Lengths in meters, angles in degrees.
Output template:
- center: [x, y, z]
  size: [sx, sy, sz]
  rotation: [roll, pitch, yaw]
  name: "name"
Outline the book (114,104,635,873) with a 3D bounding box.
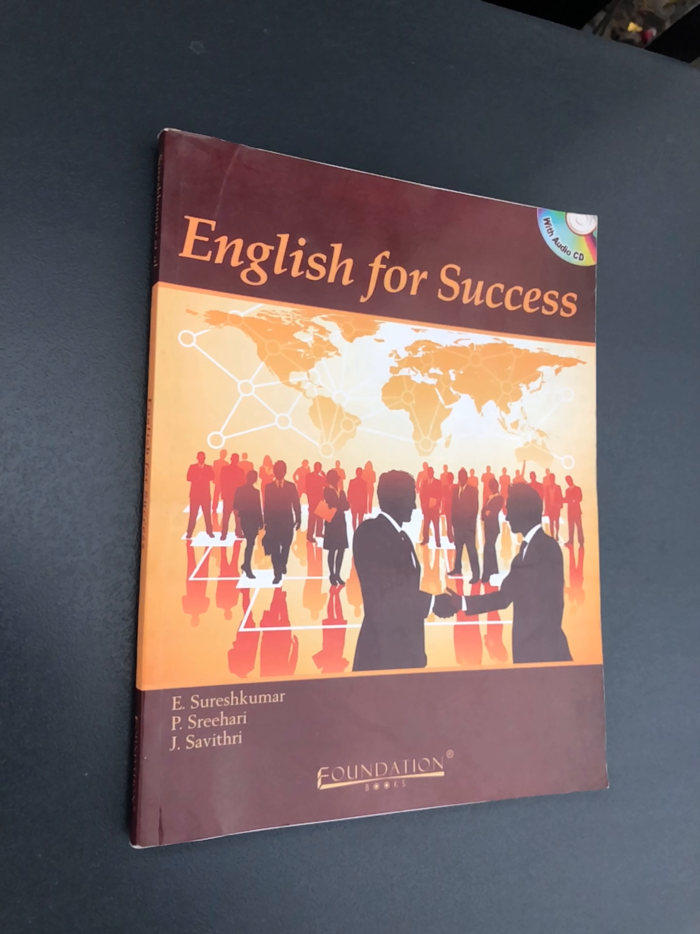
- center: [0.016, 0.005, 0.293]
  size: [0.190, 0.030, 0.240]
  rotation: [3, 82, -23]
  name: "book"
